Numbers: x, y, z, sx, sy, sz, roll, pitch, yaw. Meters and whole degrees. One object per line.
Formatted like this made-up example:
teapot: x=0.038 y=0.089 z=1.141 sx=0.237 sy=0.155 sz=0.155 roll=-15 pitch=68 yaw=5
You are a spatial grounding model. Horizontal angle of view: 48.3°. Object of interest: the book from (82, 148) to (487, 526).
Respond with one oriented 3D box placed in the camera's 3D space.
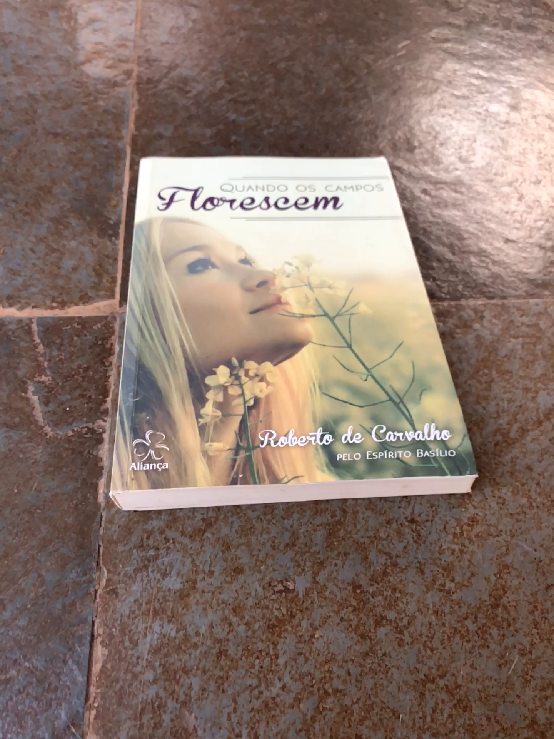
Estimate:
book: x=-0.004 y=-0.036 z=0.319 sx=0.161 sy=0.022 sz=0.226 roll=-2 pitch=54 yaw=-5
